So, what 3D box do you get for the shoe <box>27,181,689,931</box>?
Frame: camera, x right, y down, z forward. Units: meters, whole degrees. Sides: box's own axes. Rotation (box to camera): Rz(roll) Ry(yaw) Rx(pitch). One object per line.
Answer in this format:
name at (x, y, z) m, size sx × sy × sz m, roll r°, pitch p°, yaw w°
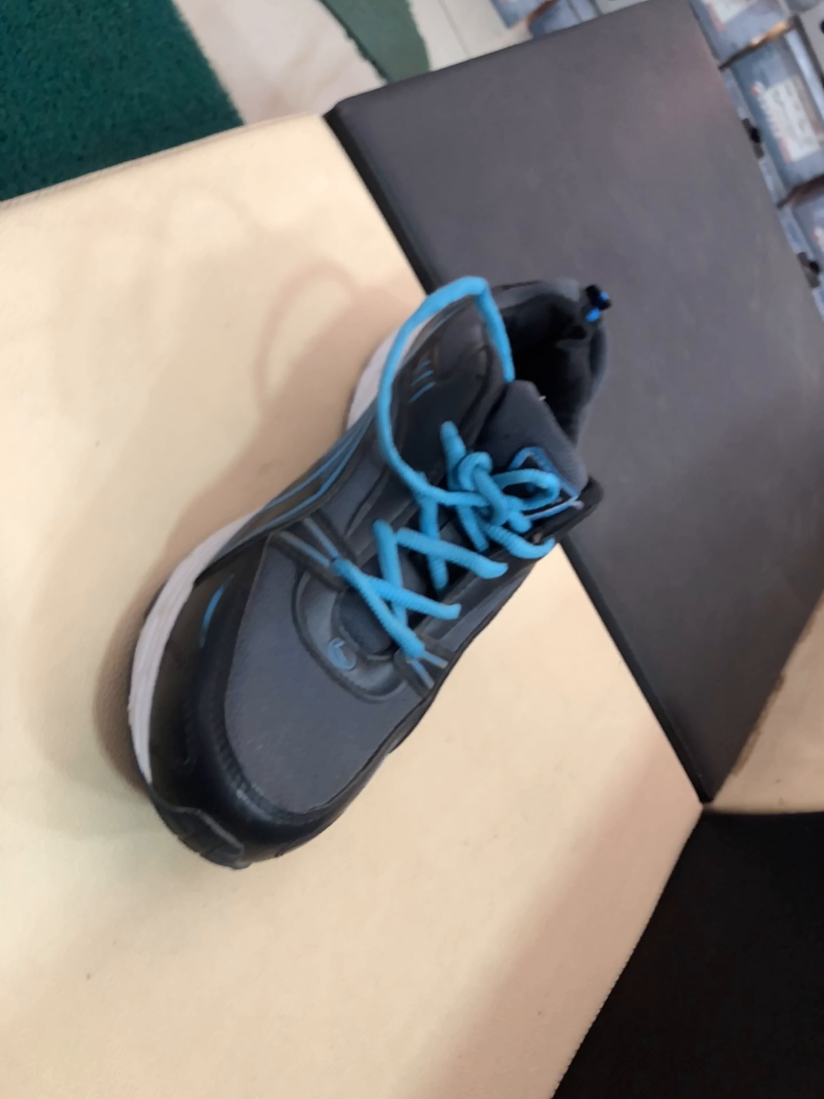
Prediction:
shoe at (0.001, -0.012, 0.353) m, size 0.100 × 0.099 × 0.271 m, roll 49°, pitch 52°, yaw -22°
